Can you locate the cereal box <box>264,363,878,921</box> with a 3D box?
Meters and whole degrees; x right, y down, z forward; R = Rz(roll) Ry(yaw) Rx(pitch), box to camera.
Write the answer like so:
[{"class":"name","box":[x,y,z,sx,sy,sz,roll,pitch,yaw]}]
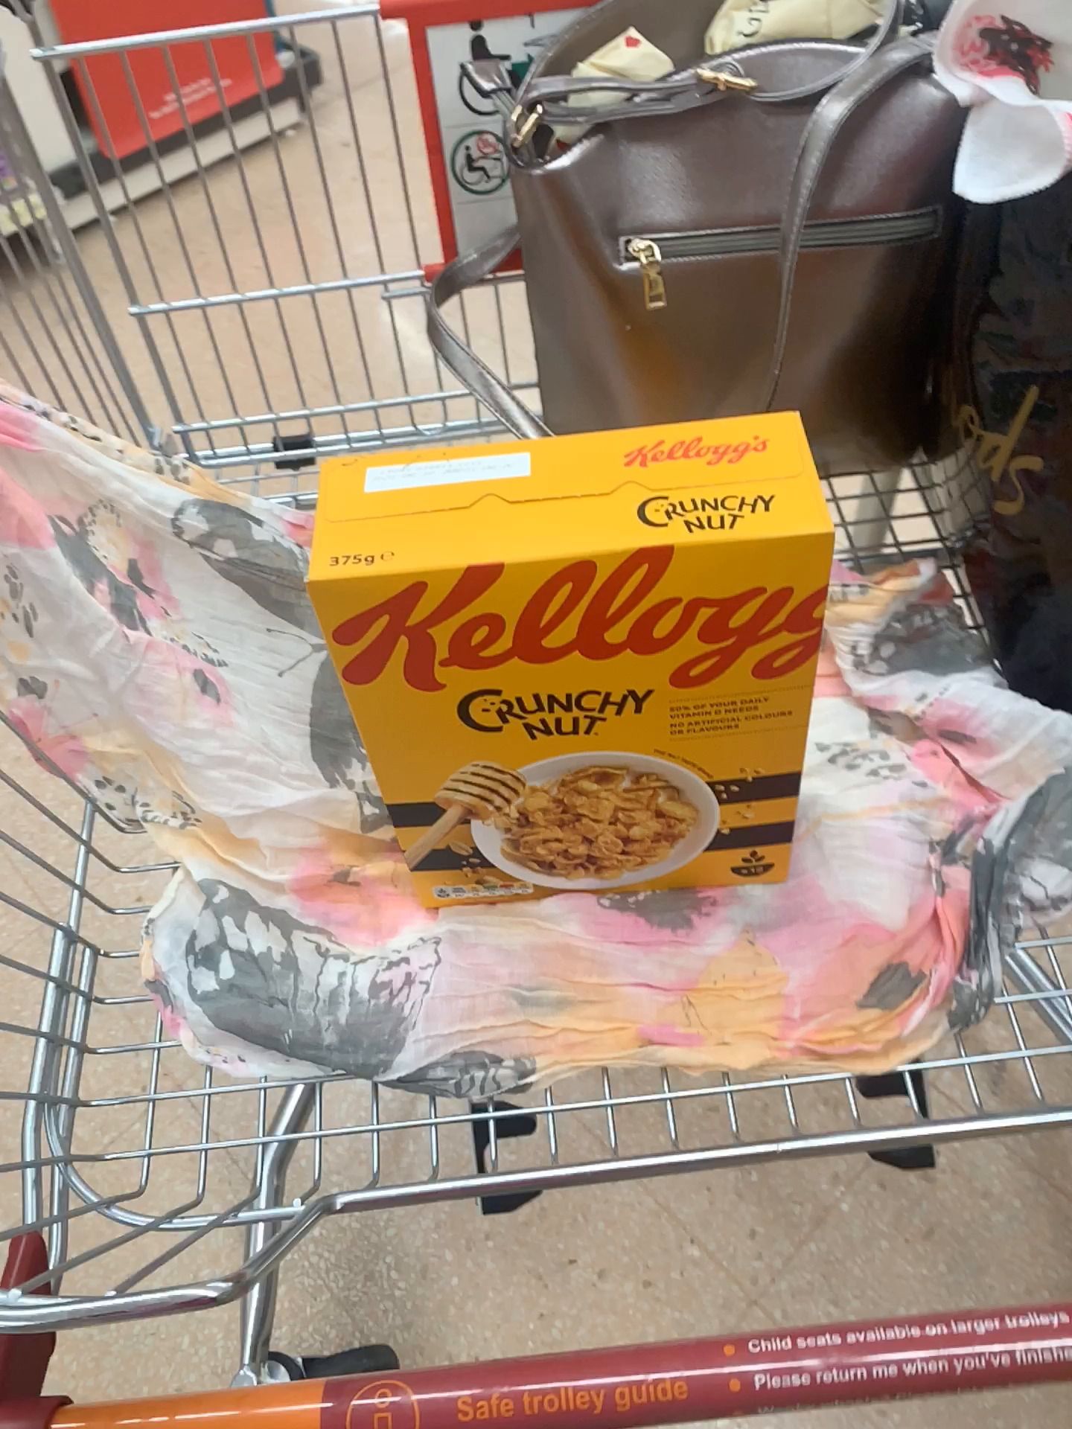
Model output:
[{"class":"cereal box","box":[0.021,-0.013,0.499,0.210,0.258,0.081,-6,51,2]}]
